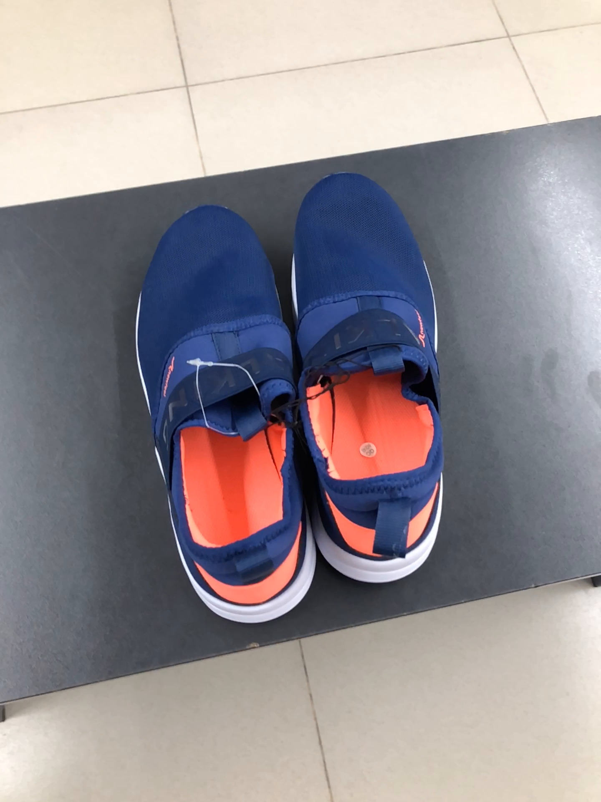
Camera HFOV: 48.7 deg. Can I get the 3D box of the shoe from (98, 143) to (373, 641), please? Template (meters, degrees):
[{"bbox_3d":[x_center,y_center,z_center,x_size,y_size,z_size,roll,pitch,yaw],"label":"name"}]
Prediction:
[{"bbox_3d":[-0.043,-0.004,0.399,0.110,0.120,0.261,-8,68,-4],"label":"shoe"}]

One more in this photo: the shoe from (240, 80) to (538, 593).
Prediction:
[{"bbox_3d":[0.036,-0.030,0.362,0.110,0.120,0.241,-6,68,4],"label":"shoe"}]
